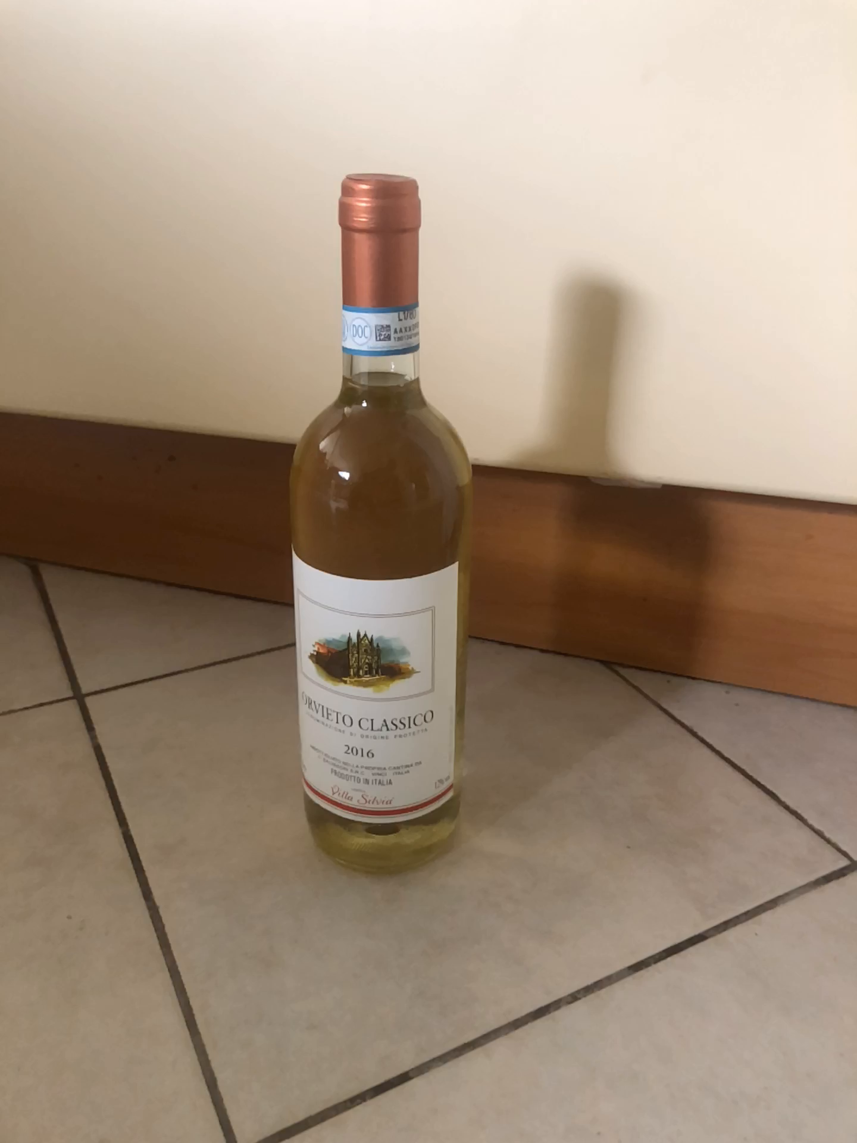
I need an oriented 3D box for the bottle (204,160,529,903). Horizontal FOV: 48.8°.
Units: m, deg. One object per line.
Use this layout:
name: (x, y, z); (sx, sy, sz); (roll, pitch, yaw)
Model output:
bottle: (-0.020, -0.011, 0.396); (0.090, 0.288, 0.091); (1, 27, -1)
